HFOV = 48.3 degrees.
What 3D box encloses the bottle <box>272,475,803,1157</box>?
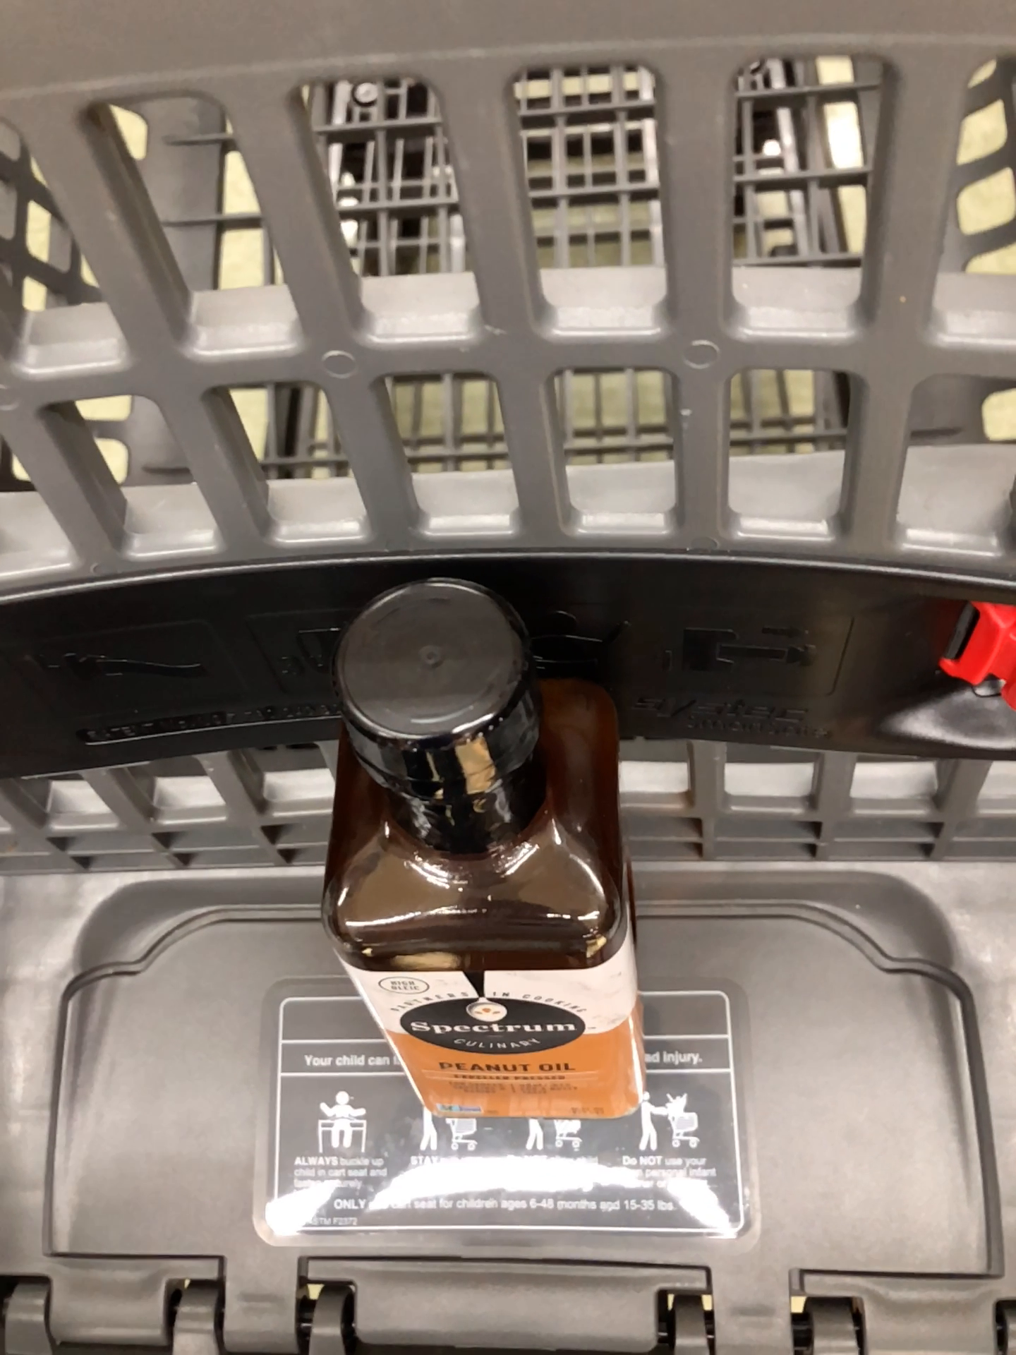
[{"bbox_3d":[0.013,0.049,0.247,0.070,0.190,0.070,-3,57,5],"label":"bottle"}]
